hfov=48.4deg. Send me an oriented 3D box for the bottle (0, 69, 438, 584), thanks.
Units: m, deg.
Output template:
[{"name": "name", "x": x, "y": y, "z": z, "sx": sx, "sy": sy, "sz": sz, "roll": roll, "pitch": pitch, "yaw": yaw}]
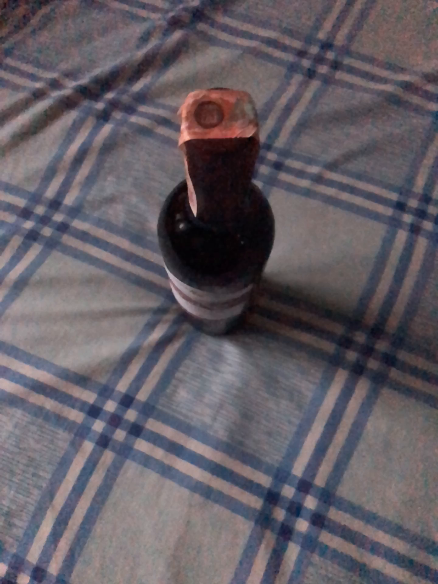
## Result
[{"name": "bottle", "x": -0.001, "y": 0.058, "z": 0.219, "sx": 0.071, "sy": 0.306, "sz": 0.081, "roll": -38, "pitch": 75, "yaw": -11}]
